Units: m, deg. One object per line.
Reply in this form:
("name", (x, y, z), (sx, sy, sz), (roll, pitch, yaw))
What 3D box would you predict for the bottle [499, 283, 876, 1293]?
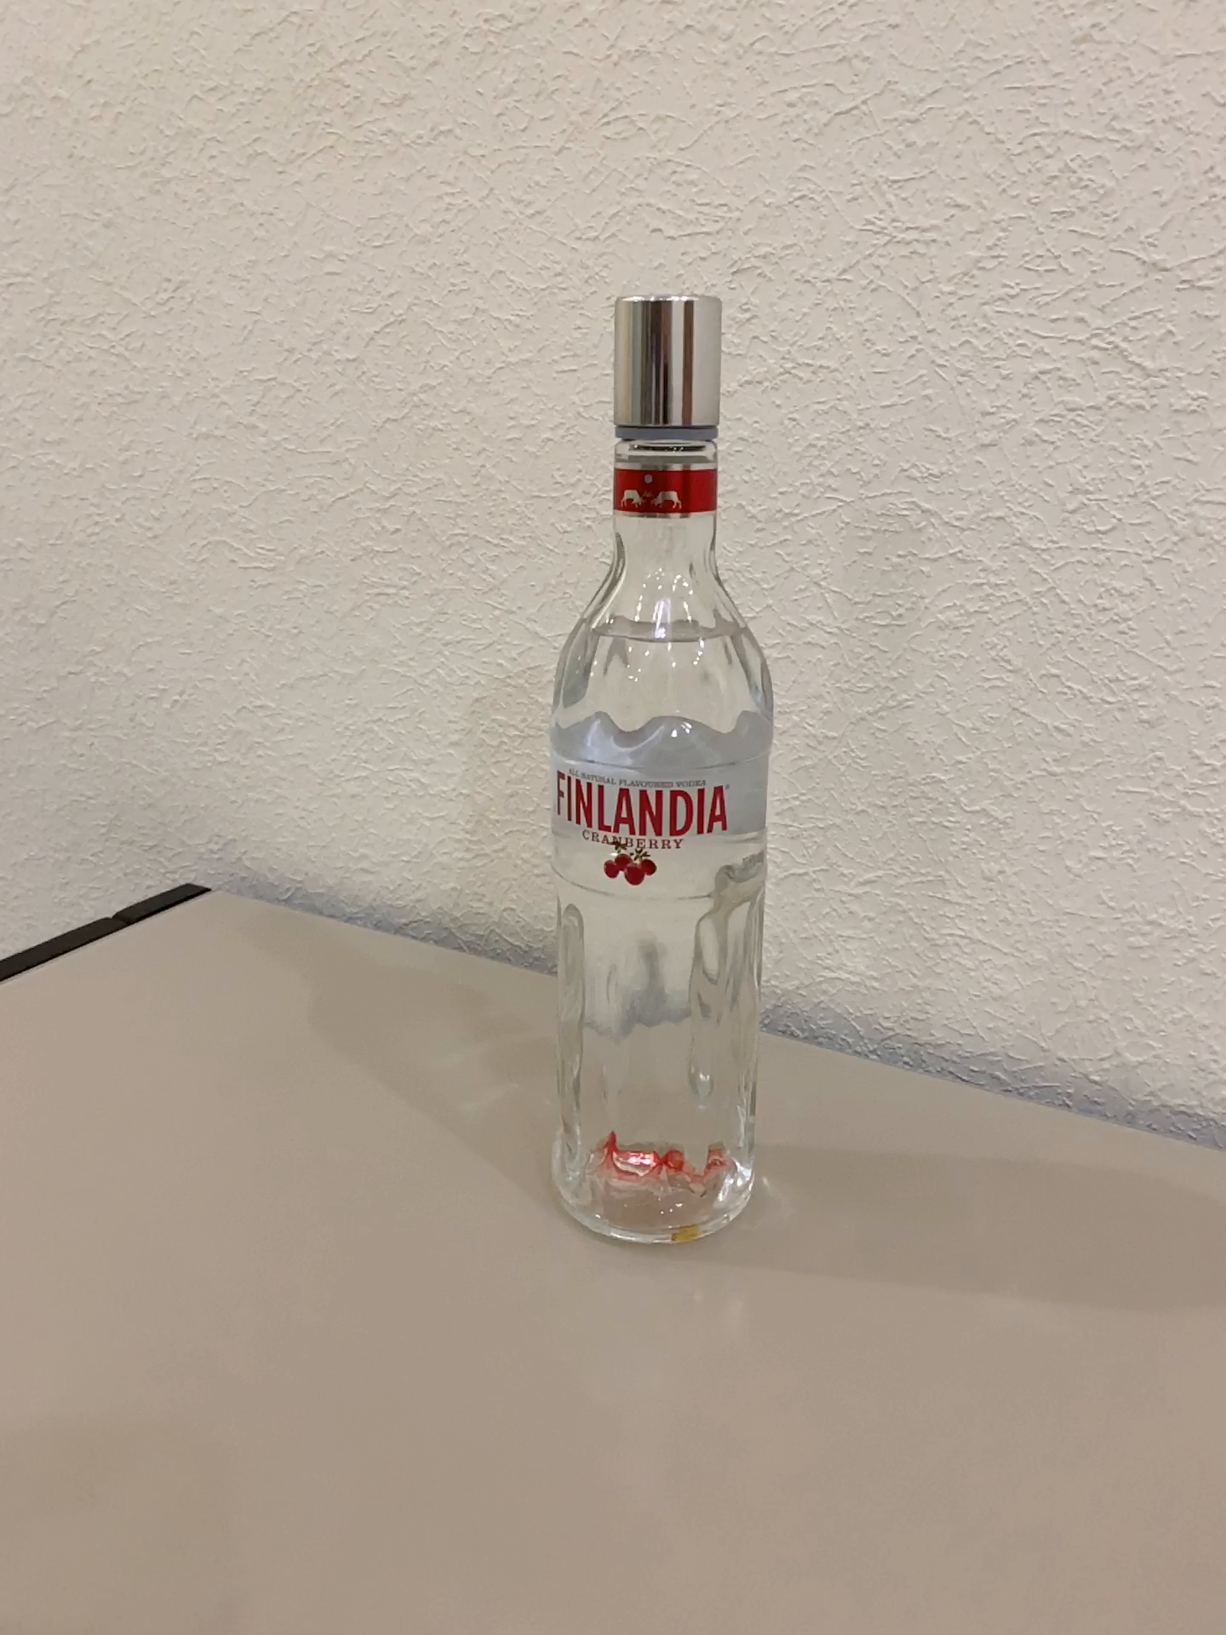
("bottle", (0.025, -0.008, 0.426), (0.090, 0.309, 0.090), (0, 18, 0))
